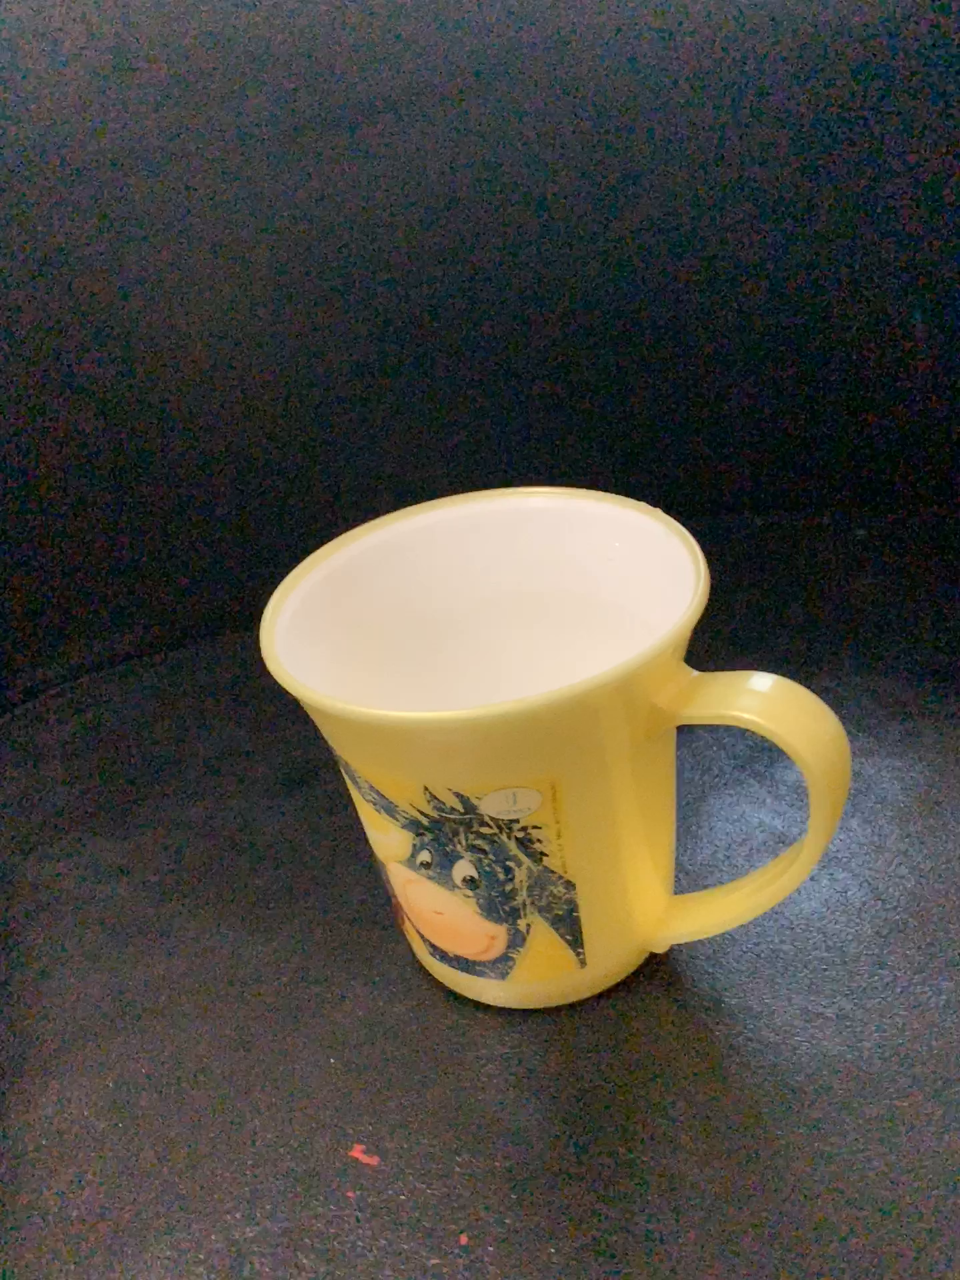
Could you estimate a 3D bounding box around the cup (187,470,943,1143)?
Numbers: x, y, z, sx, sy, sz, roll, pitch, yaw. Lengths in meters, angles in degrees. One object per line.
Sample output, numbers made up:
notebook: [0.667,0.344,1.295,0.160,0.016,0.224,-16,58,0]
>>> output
cup: [0.024,0.022,0.212,0.120,0.080,0.090,8,35,28]
